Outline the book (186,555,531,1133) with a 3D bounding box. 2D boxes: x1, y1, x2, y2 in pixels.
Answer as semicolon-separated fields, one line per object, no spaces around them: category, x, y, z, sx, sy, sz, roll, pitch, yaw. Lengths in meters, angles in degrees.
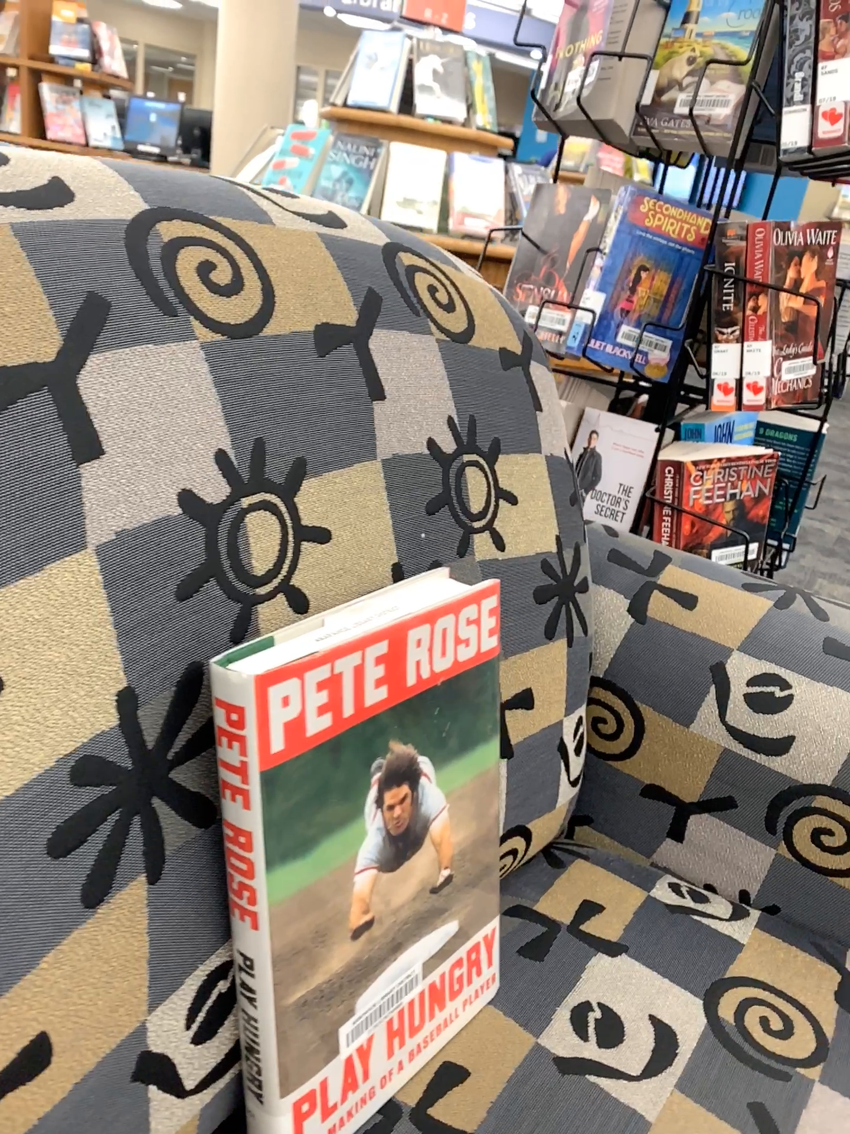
book;-0.017;0.135;0.428;0.040;0.249;0.191;9;16;37
